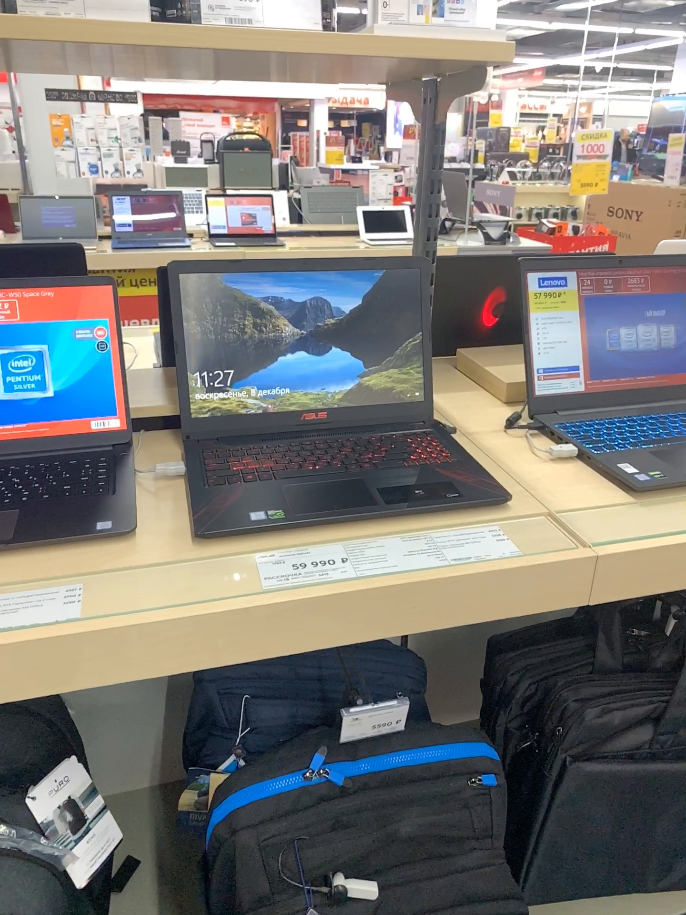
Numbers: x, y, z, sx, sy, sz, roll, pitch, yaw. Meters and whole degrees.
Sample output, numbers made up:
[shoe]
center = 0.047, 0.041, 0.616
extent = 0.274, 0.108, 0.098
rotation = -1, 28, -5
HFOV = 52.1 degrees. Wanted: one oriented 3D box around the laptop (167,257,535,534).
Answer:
[laptop]
center = -0.018, -0.105, 0.878
extent = 0.366, 0.229, 0.318
rotation = -5, 25, -14
